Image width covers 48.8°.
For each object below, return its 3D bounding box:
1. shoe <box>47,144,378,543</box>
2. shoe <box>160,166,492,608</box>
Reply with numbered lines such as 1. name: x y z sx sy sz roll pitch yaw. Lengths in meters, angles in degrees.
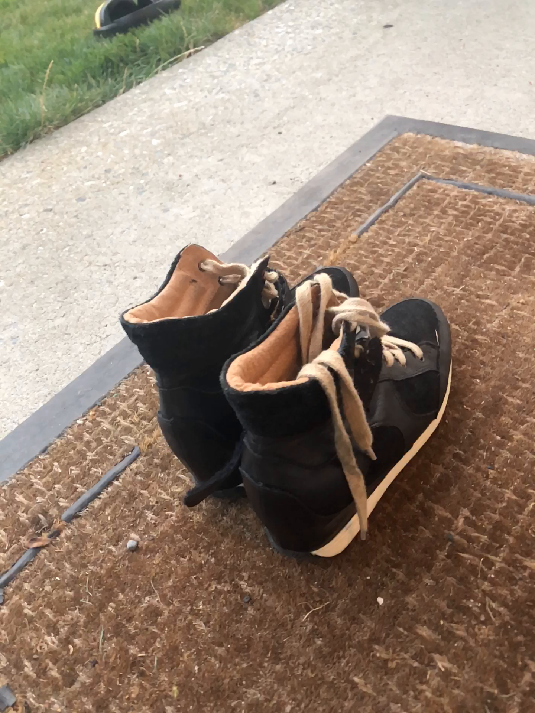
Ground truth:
1. shoe: -0.013 -0.019 0.436 0.090 0.159 0.241 19 54 28
2. shoe: 0.057 0.011 0.389 0.090 0.159 0.231 19 54 28
